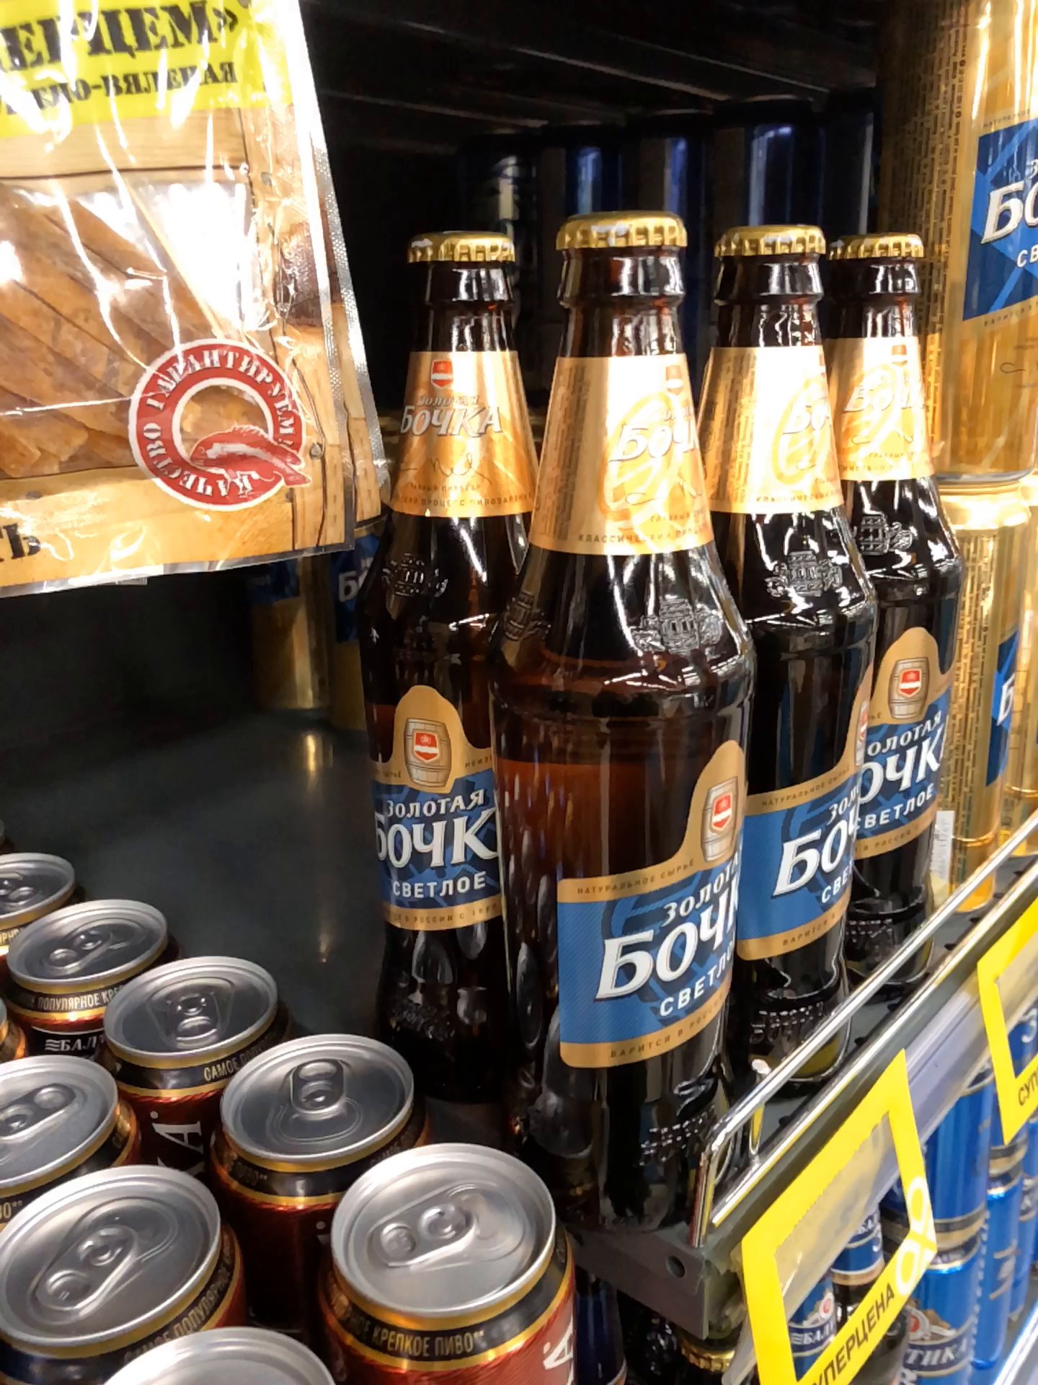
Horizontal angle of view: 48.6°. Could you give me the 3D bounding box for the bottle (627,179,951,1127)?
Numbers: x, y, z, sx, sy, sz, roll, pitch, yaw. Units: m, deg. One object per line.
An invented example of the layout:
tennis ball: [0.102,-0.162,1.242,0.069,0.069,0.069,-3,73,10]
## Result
bottle: [0.071,-0.009,0.316,0.060,0.234,0.070,8,20,26]

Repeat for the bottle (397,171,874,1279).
bottle: [0.026,0.008,0.276,0.070,0.234,0.070,-1,18,0]
